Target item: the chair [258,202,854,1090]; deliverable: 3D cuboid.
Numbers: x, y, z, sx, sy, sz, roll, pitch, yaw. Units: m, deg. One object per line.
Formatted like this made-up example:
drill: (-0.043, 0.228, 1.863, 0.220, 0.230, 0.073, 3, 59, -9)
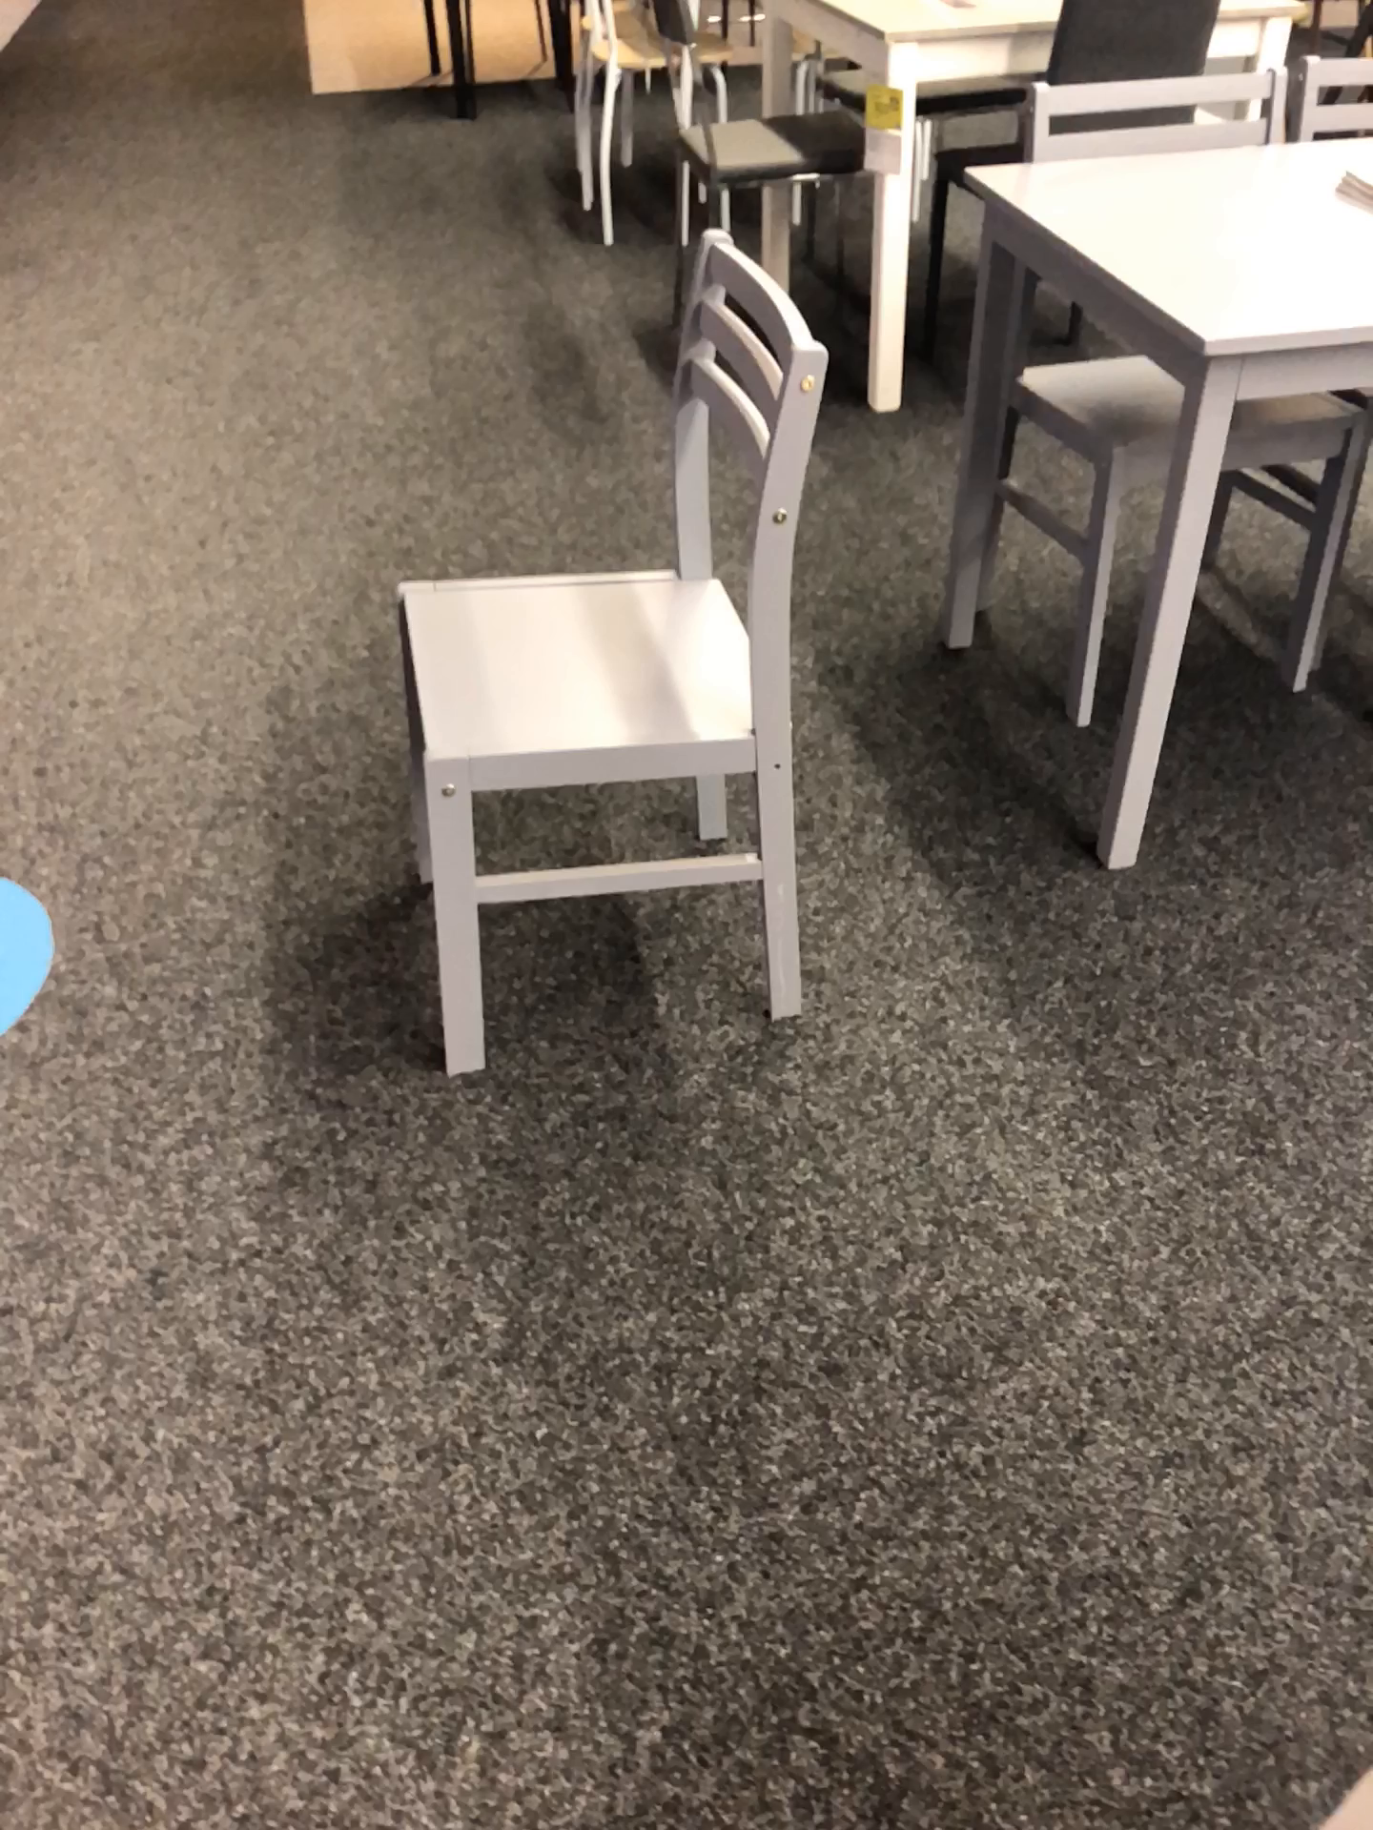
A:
chair: (-0.143, -0.294, 1.659, 0.491, 0.766, 0.492, -9, 39, -10)
